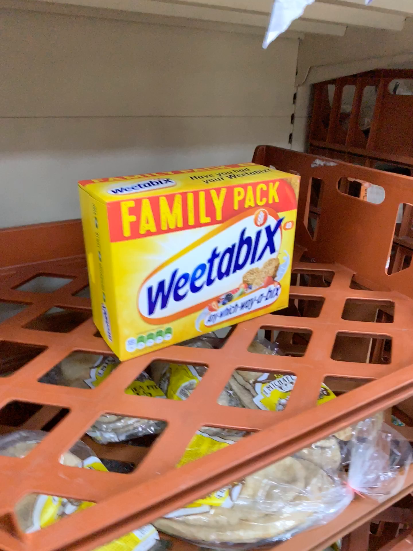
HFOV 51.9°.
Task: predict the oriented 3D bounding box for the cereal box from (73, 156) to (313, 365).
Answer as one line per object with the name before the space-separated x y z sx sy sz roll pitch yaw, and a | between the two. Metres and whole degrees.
cereal box | -0.011 -0.035 0.524 0.261 0.188 0.100 -14 29 -30
